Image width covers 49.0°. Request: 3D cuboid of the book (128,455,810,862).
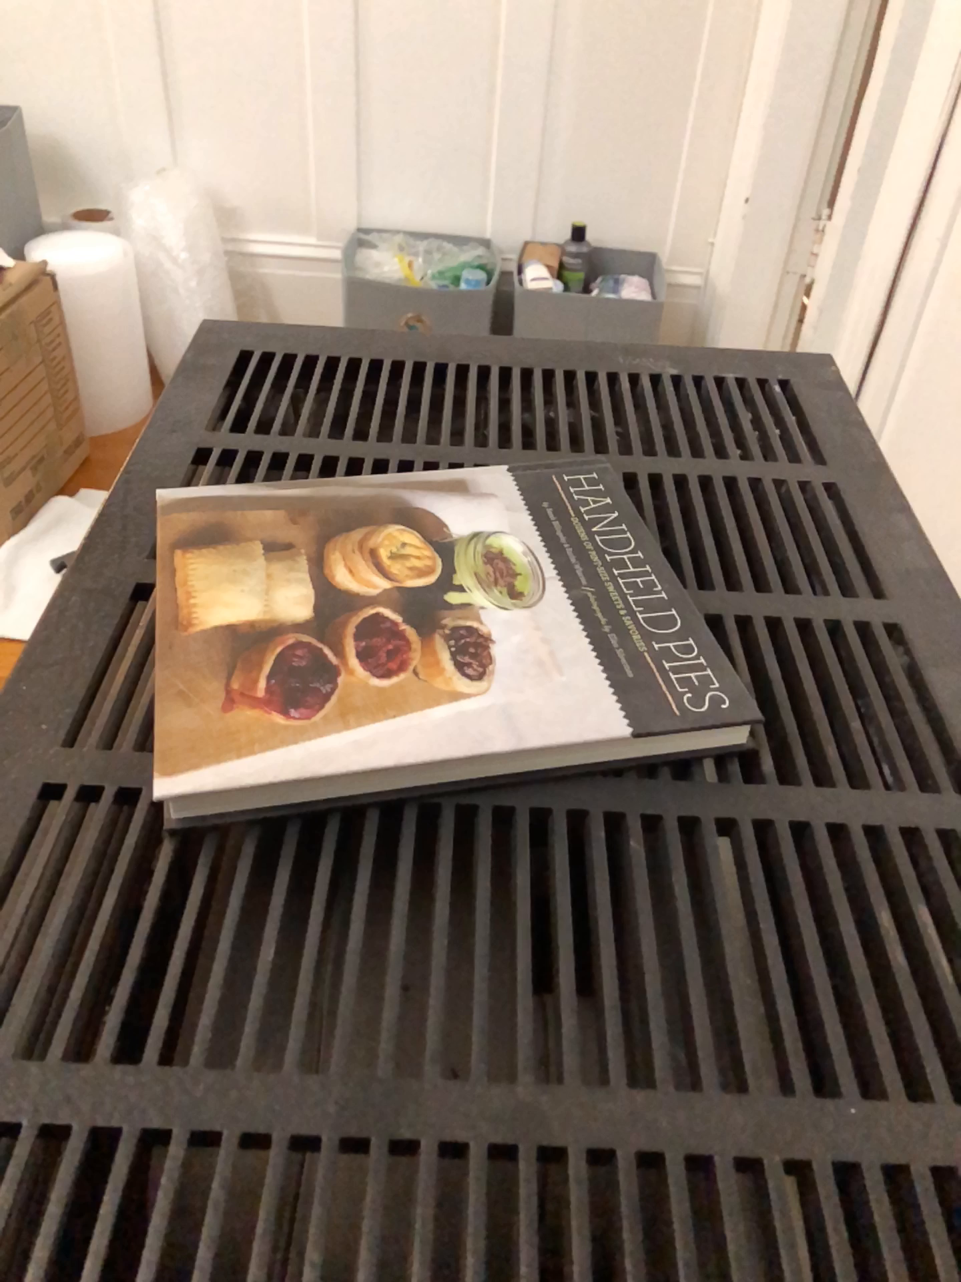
[{"bbox_3d":[-0.019,-0.011,0.429,0.230,0.020,0.201,-6,40,-12],"label":"book"}]
